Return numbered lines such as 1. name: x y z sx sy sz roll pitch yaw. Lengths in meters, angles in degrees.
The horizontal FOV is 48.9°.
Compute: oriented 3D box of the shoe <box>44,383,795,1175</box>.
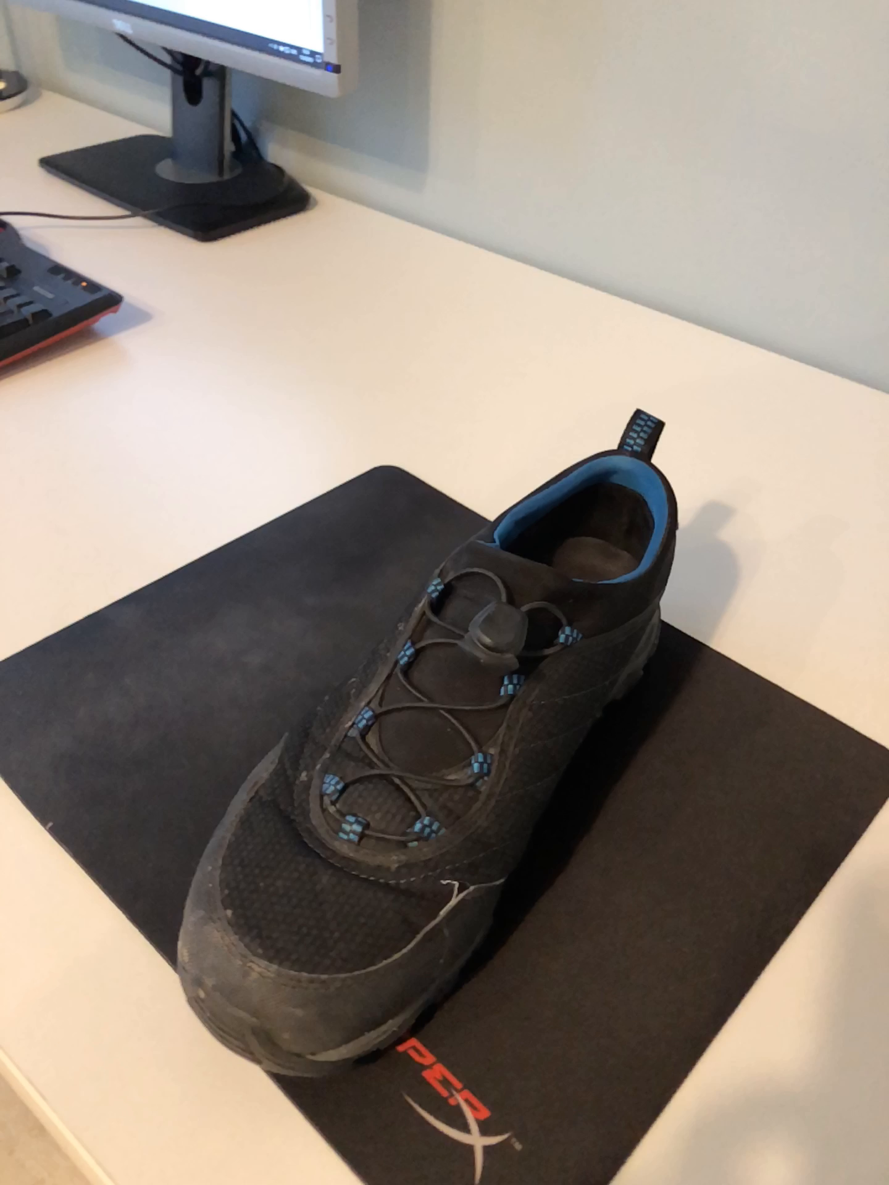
1. shoe: 0.015 0.042 0.402 0.130 0.109 0.302 25 46 25
